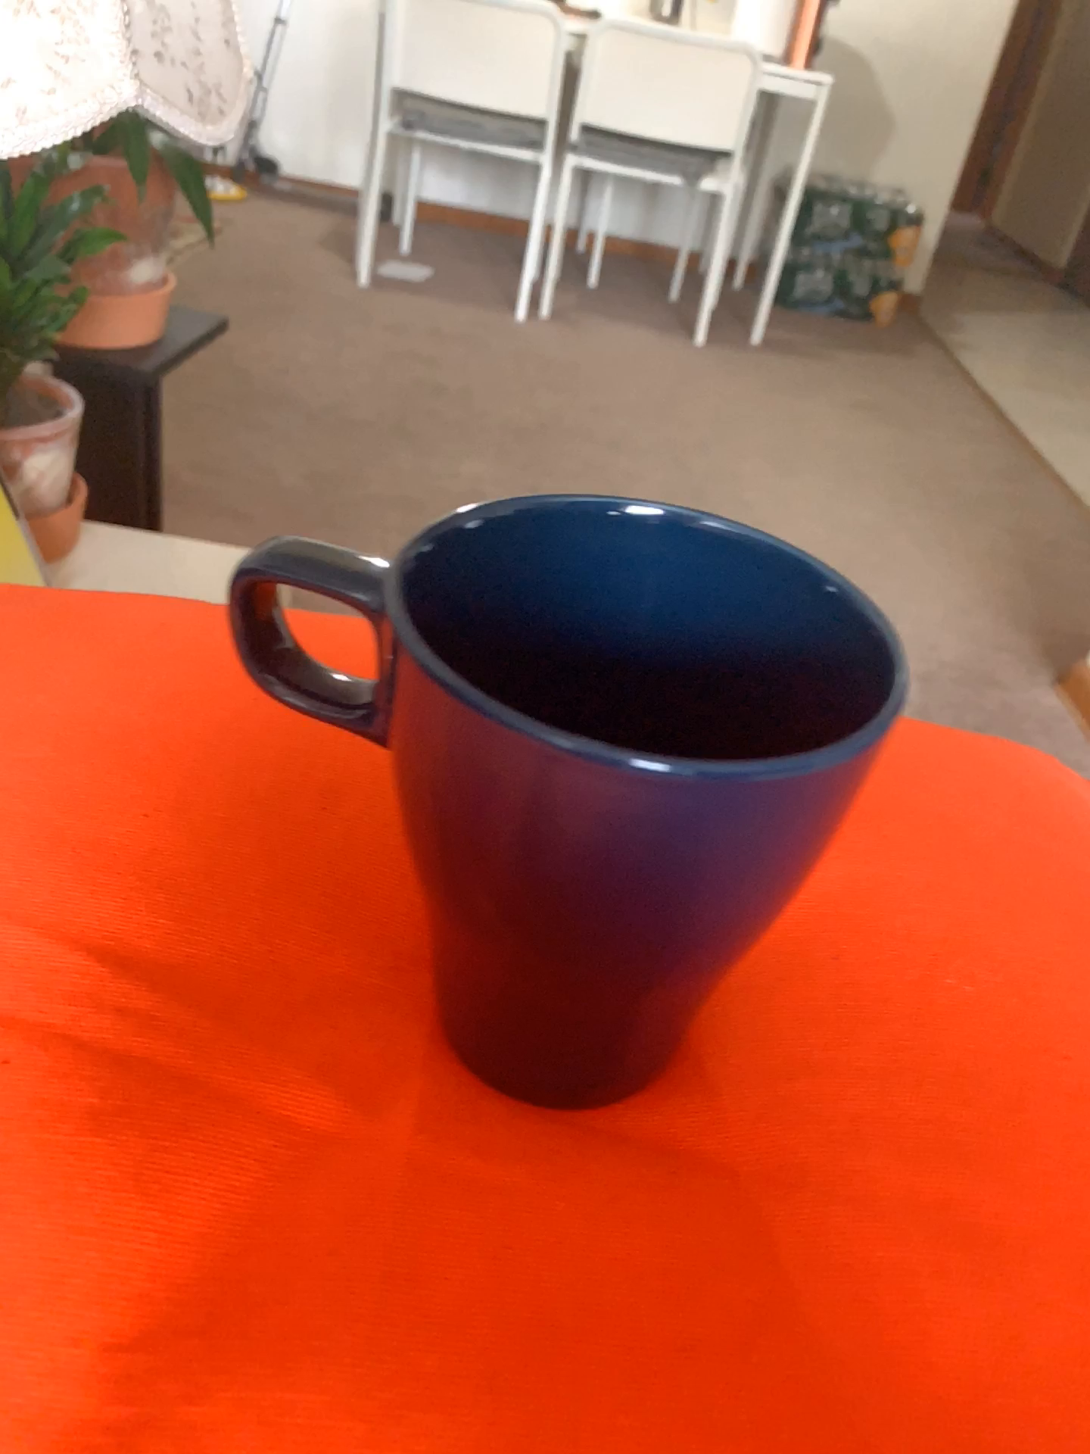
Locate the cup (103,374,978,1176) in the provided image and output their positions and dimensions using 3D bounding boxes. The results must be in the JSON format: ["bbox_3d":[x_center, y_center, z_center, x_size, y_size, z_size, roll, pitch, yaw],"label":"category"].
[{"bbox_3d":[0.001,0.001,0.200,0.120,0.079,0.081,17,34,10],"label":"cup"}]
